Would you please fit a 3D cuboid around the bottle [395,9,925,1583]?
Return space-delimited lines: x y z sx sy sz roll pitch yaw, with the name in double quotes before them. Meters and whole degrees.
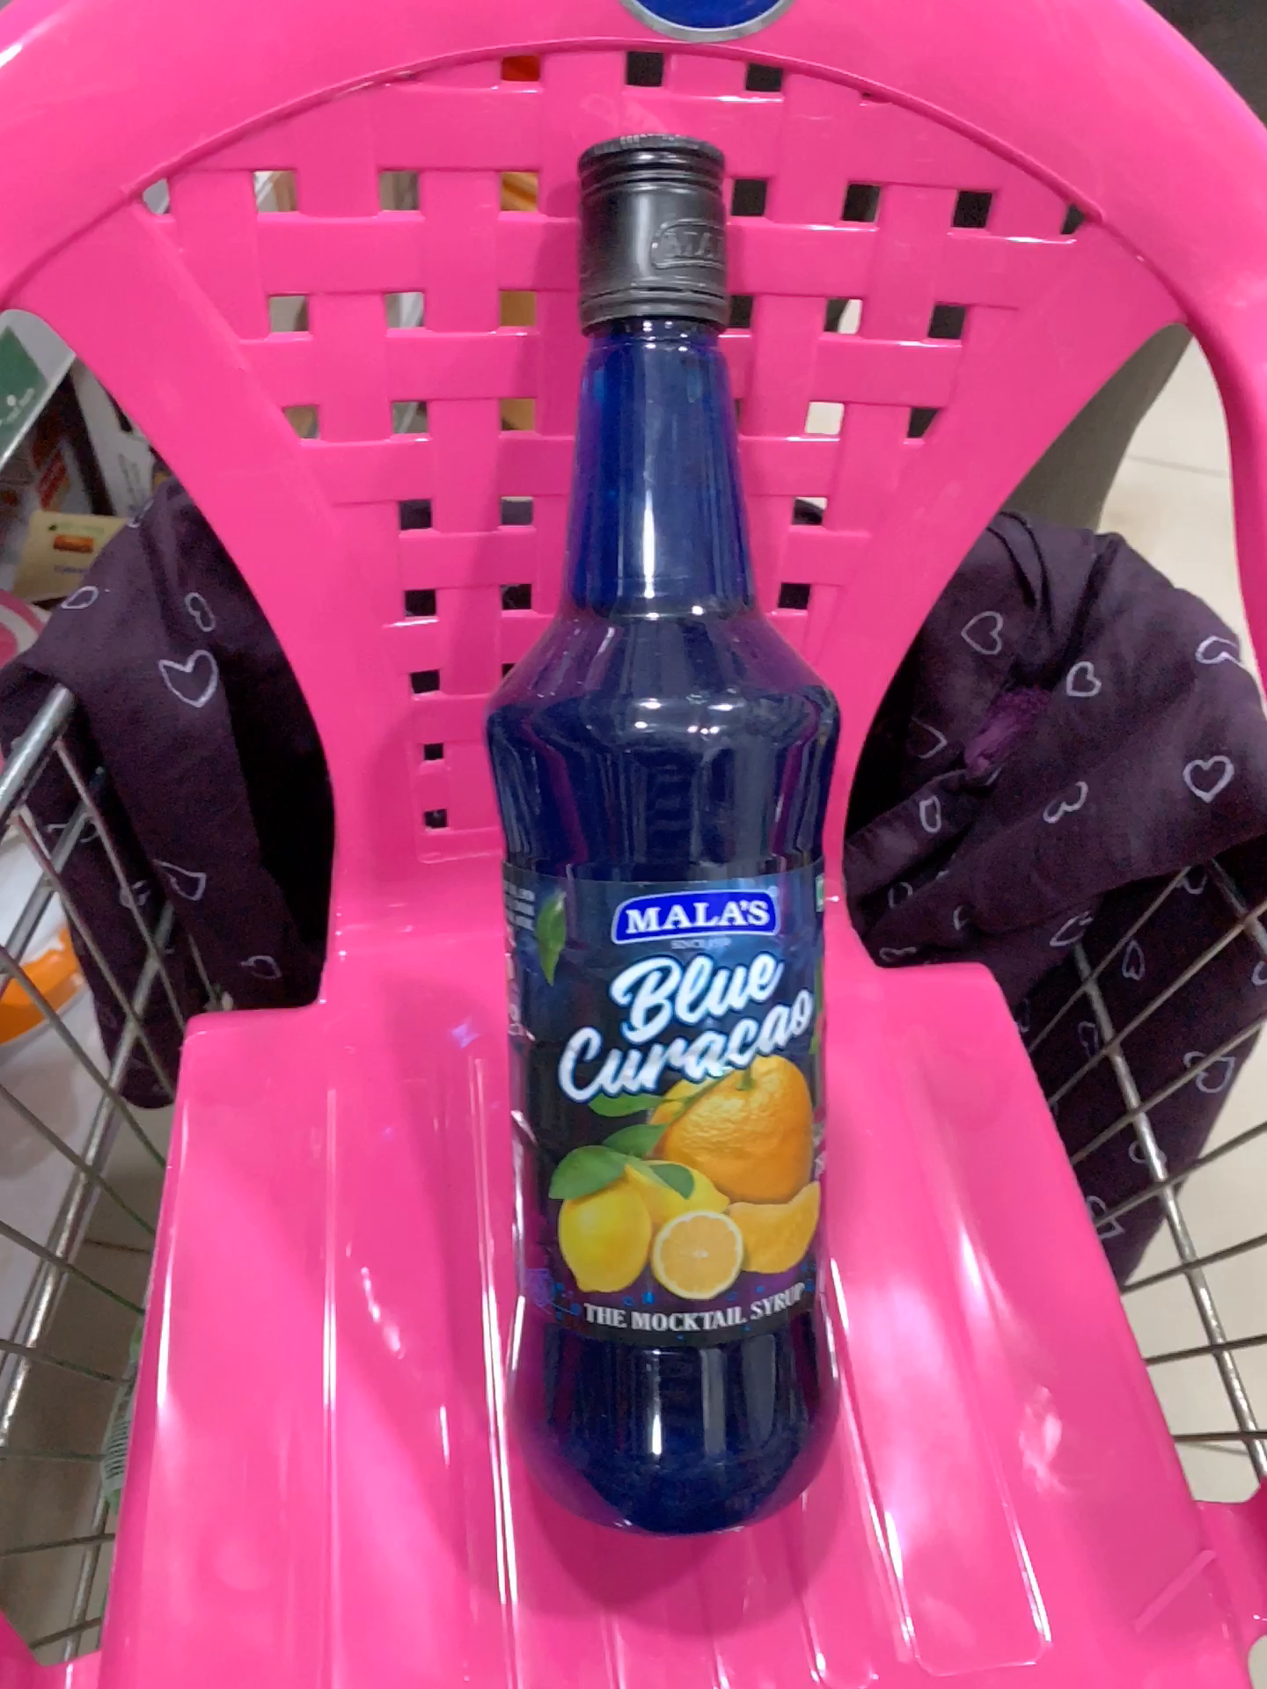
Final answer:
"bottle" 0.002 -0.001 0.265 0.080 0.270 0.080 -2 13 0
